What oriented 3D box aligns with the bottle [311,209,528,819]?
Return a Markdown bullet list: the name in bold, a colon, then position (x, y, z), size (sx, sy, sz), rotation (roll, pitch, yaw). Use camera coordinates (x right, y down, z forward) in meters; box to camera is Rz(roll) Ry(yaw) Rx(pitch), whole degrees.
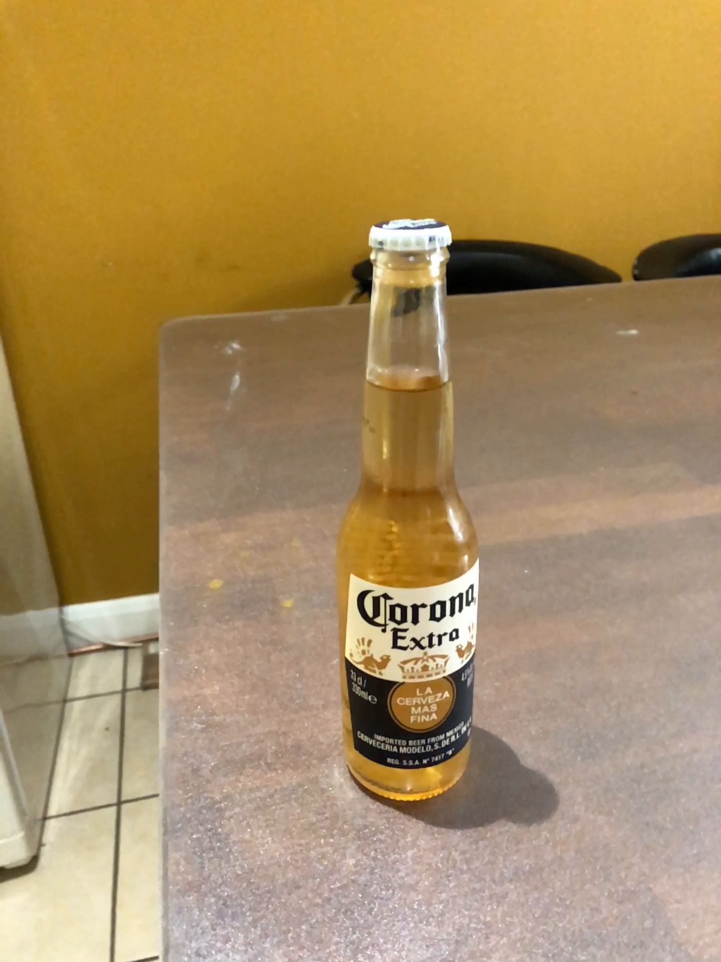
- **bottle**: position (0.019, 0.021, 0.320), size (0.060, 0.238, 0.060), rotation (-1, 26, 0)
